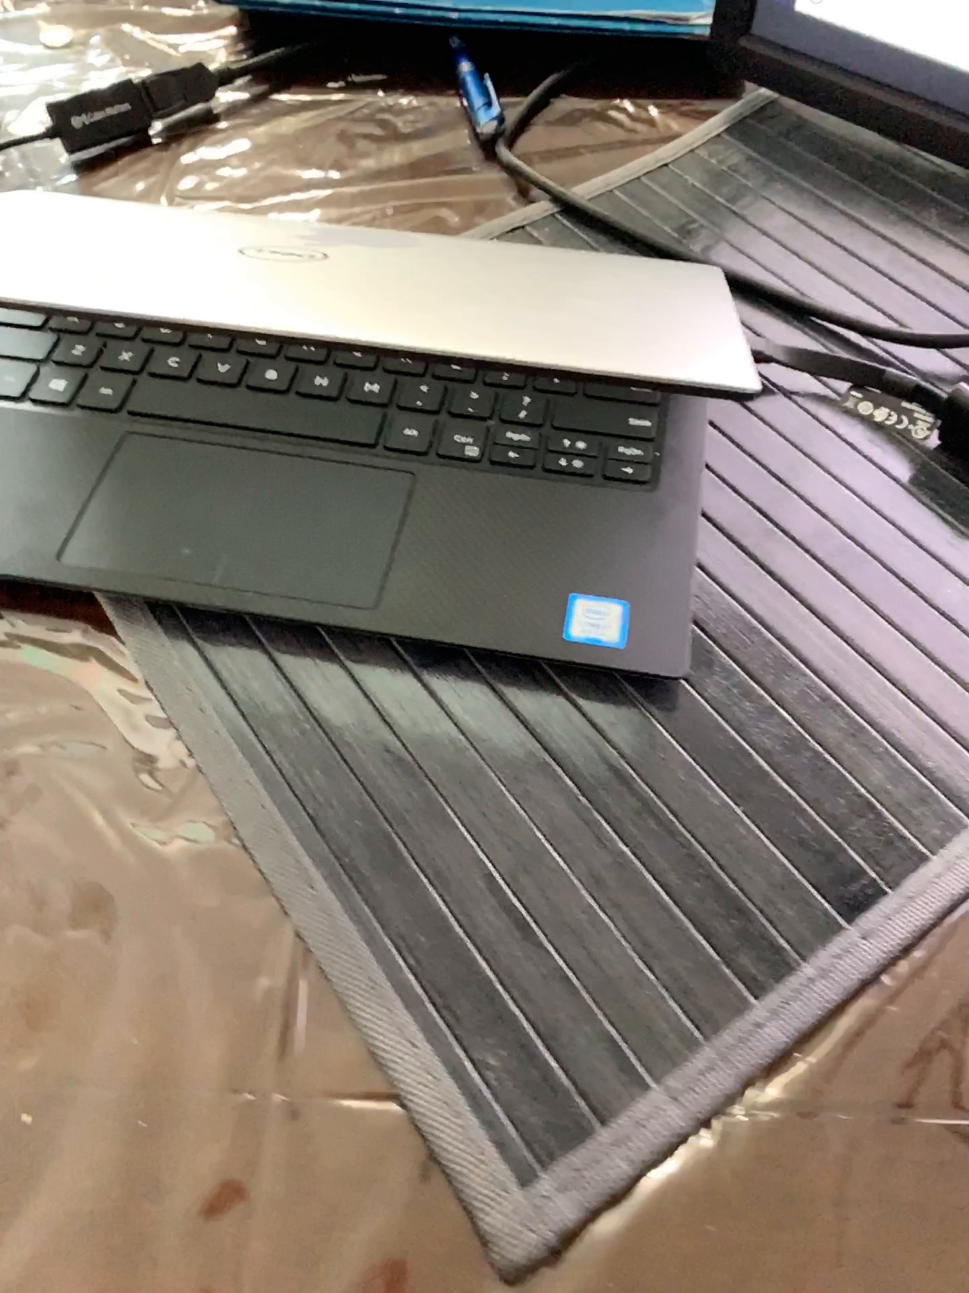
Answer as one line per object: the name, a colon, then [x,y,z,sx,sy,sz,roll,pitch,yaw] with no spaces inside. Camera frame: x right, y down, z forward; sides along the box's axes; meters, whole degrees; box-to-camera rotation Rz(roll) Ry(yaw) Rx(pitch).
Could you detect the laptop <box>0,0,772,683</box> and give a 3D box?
laptop: [-0.067,-0.112,0.319,0.290,0.085,0.185,9,55,6]
